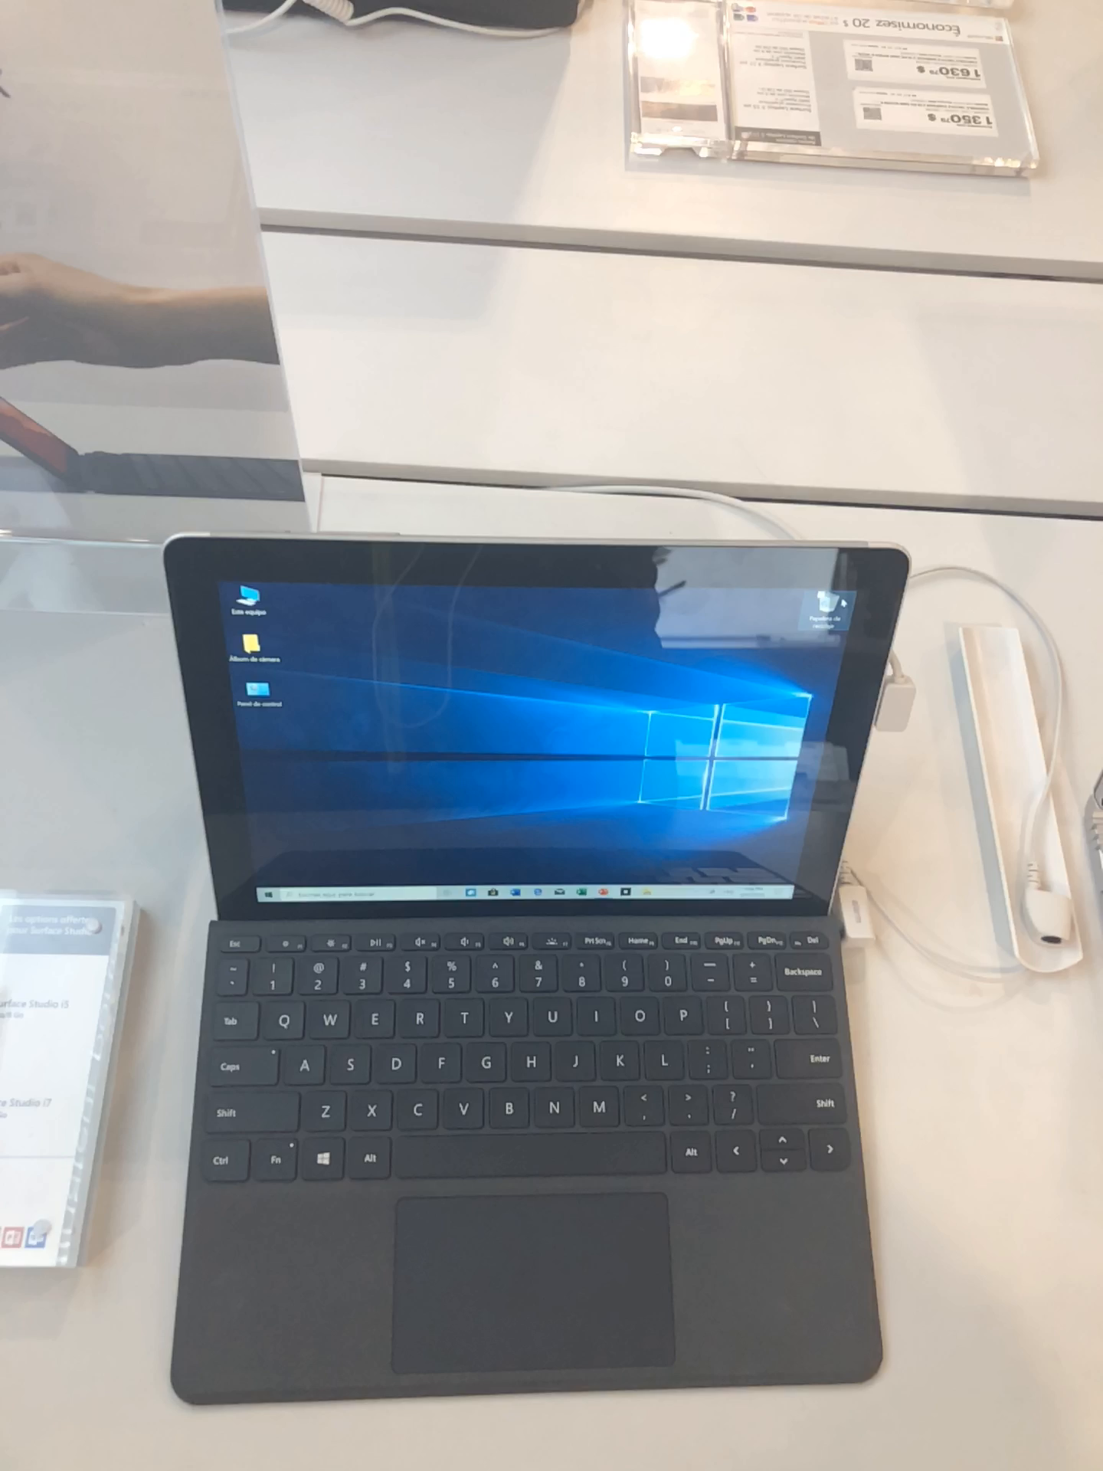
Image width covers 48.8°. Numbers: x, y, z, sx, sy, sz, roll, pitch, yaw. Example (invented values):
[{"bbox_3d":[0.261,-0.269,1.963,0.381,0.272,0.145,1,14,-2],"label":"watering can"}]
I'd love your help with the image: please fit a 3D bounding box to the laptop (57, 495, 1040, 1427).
[{"bbox_3d":[-0.007,0.073,0.400,0.236,0.140,0.250,0,67,-6],"label":"laptop"}]
